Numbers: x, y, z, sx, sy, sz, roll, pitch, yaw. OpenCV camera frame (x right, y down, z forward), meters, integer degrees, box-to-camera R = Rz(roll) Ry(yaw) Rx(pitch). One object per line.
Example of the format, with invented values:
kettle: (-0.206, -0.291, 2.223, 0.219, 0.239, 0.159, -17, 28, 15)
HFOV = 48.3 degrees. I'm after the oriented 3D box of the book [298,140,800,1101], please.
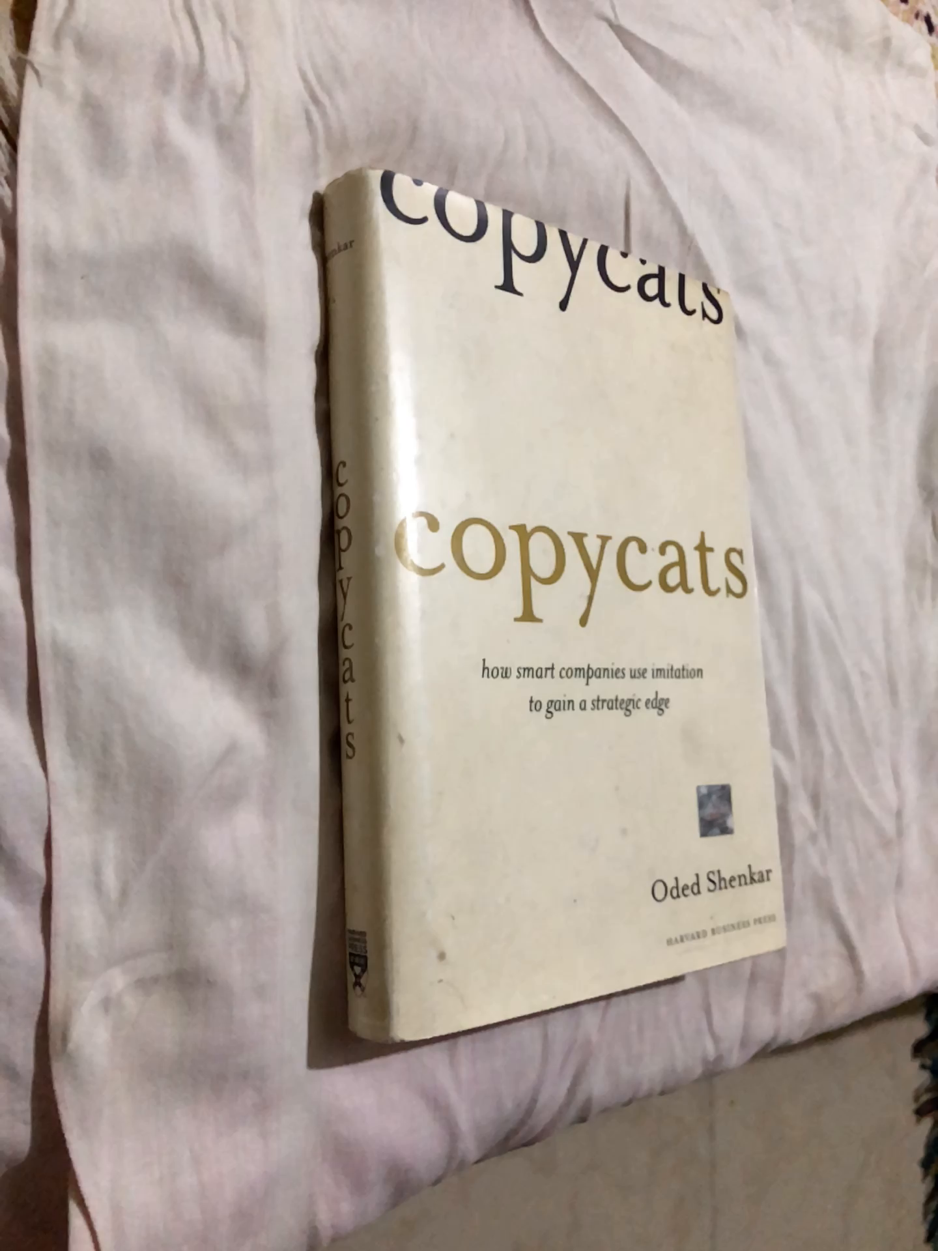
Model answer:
book: (0.027, -0.001, 0.308, 0.151, 0.040, 0.230, 5, 80, -36)
